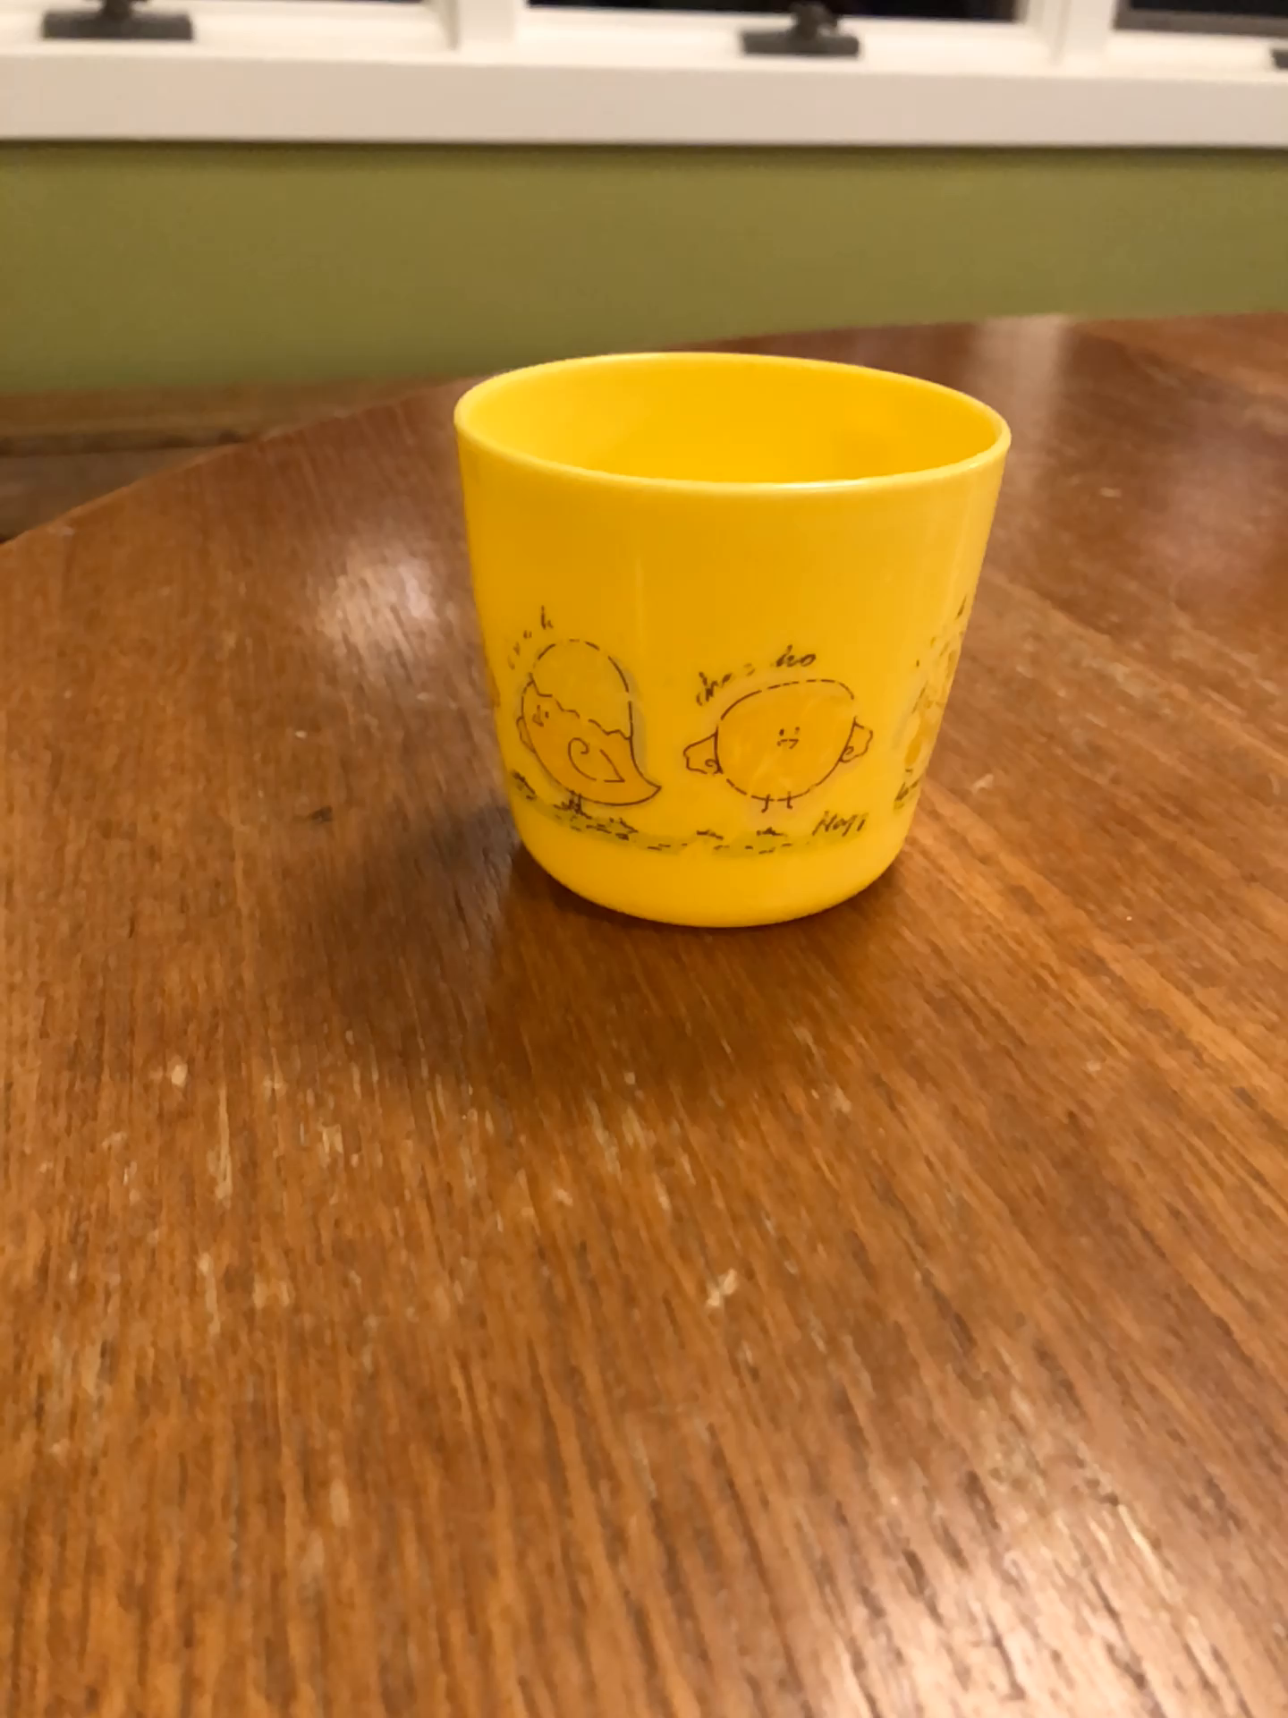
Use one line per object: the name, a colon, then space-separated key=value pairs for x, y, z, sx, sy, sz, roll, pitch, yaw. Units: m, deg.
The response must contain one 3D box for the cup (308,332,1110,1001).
cup: x=0.013 y=-0.041 z=0.236 sx=0.081 sy=0.064 sz=0.098 roll=23 pitch=36 yaw=32
